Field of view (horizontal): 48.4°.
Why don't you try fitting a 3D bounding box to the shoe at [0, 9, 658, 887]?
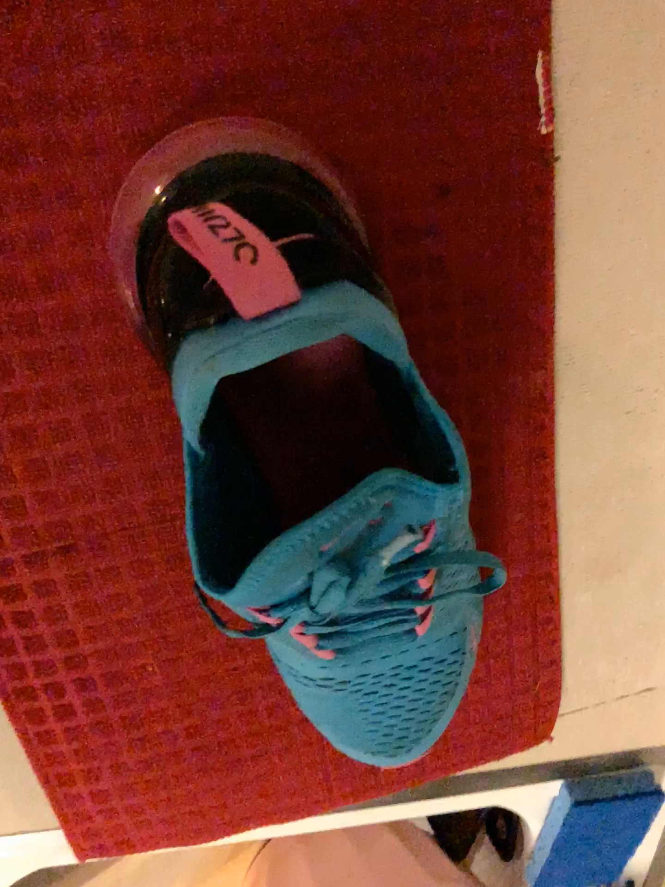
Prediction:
[{"bbox_3d":[0.008,0.045,0.287,0.150,0.130,0.330,-19,118,-3],"label":"shoe"}]
